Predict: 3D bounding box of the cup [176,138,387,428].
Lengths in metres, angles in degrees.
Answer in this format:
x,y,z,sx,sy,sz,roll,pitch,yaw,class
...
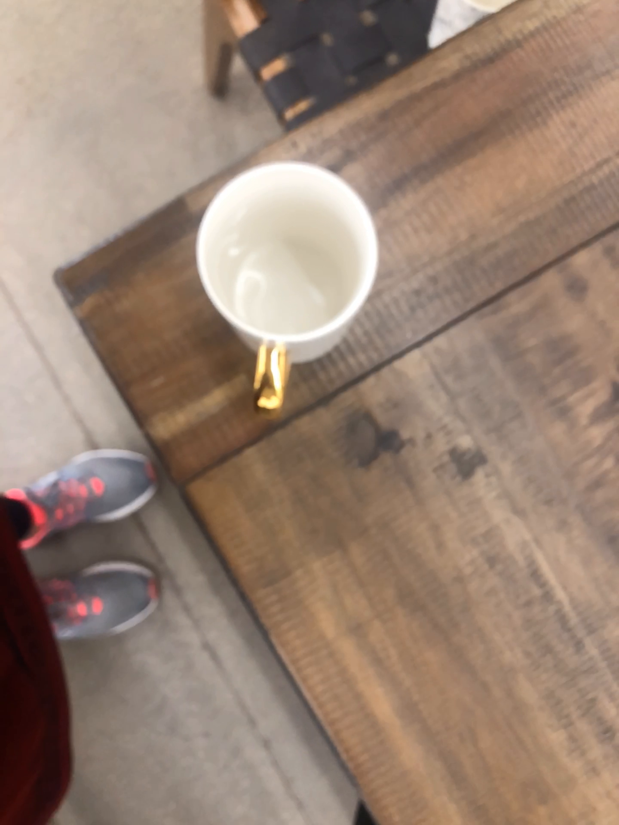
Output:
x,y,z,sx,sy,sz,roll,pitch,yaw,class
-0.013,-0.056,0.366,0.082,0.111,0.121,5,89,-1,cup
